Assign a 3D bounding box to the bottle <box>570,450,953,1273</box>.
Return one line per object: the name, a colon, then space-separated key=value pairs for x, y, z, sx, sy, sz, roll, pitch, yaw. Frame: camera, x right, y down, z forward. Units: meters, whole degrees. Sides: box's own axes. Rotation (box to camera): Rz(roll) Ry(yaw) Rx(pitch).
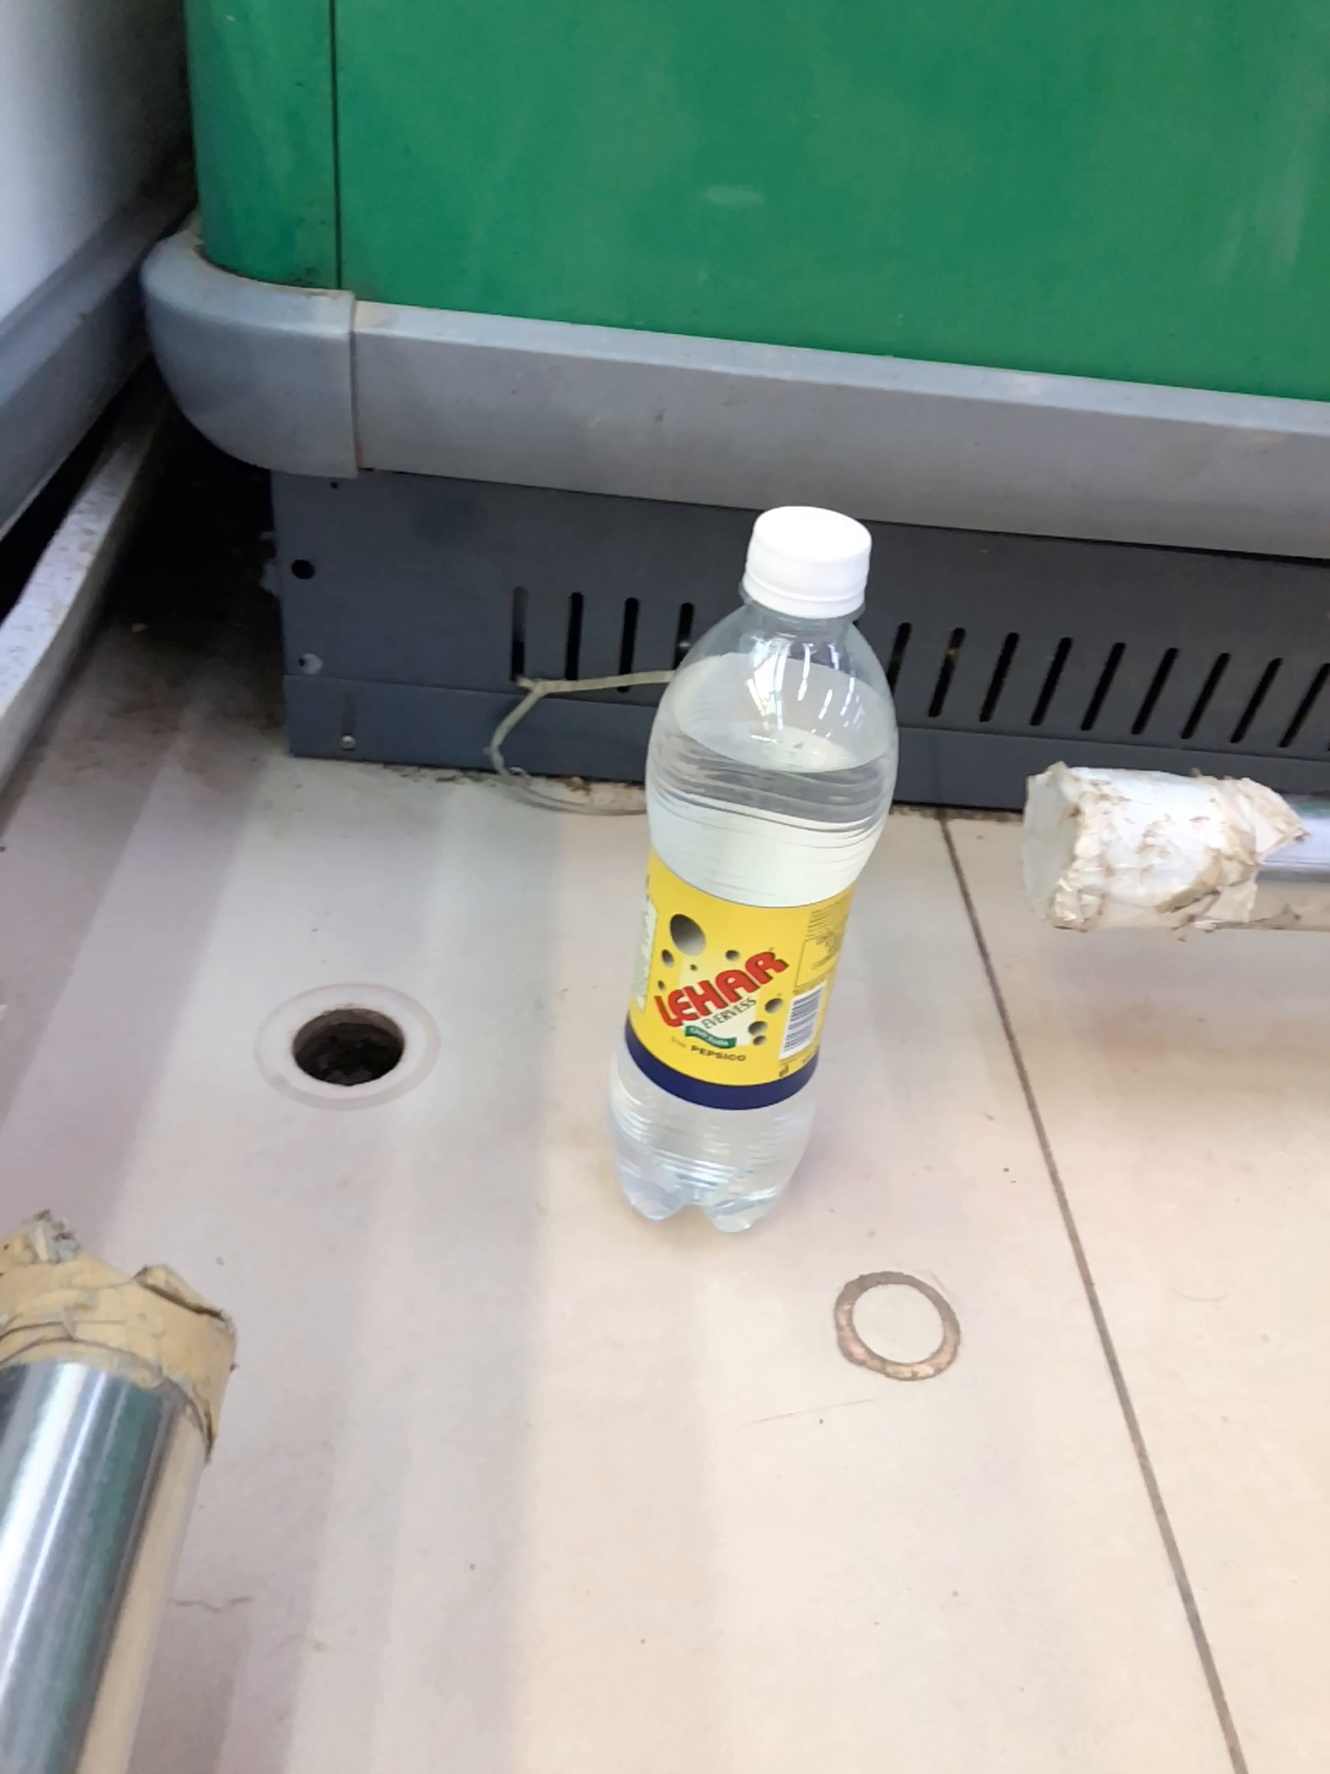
bottle: x=0.022 y=0.003 z=0.425 sx=0.070 sy=0.228 sz=0.071 roll=5 pitch=36 yaw=-3
